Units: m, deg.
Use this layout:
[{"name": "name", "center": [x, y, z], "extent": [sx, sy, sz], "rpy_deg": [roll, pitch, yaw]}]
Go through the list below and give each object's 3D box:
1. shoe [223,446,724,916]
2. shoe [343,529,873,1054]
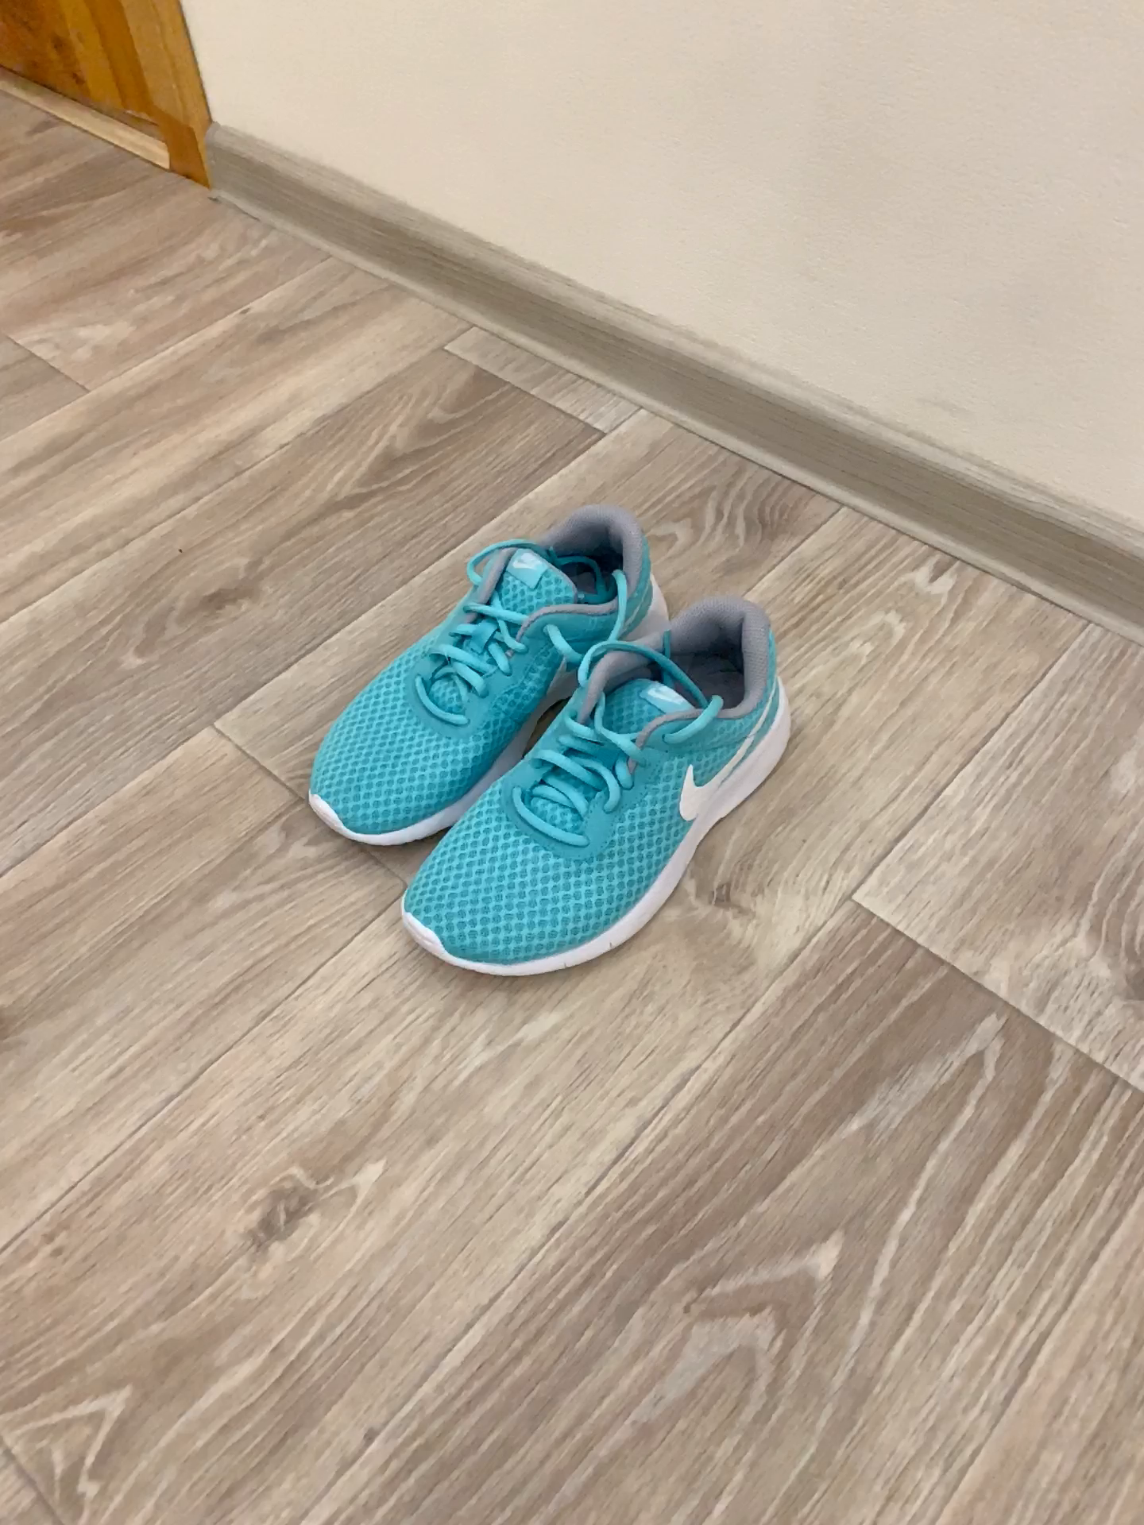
[{"name": "shoe", "center": [-0.041, -0.051, 0.624], "extent": [0.101, 0.090, 0.250], "rpy_deg": [36, 62, 27]}, {"name": "shoe", "center": [0.025, 0.005, 0.572], "extent": [0.099, 0.090, 0.250], "rpy_deg": [36, 62, 27]}]
